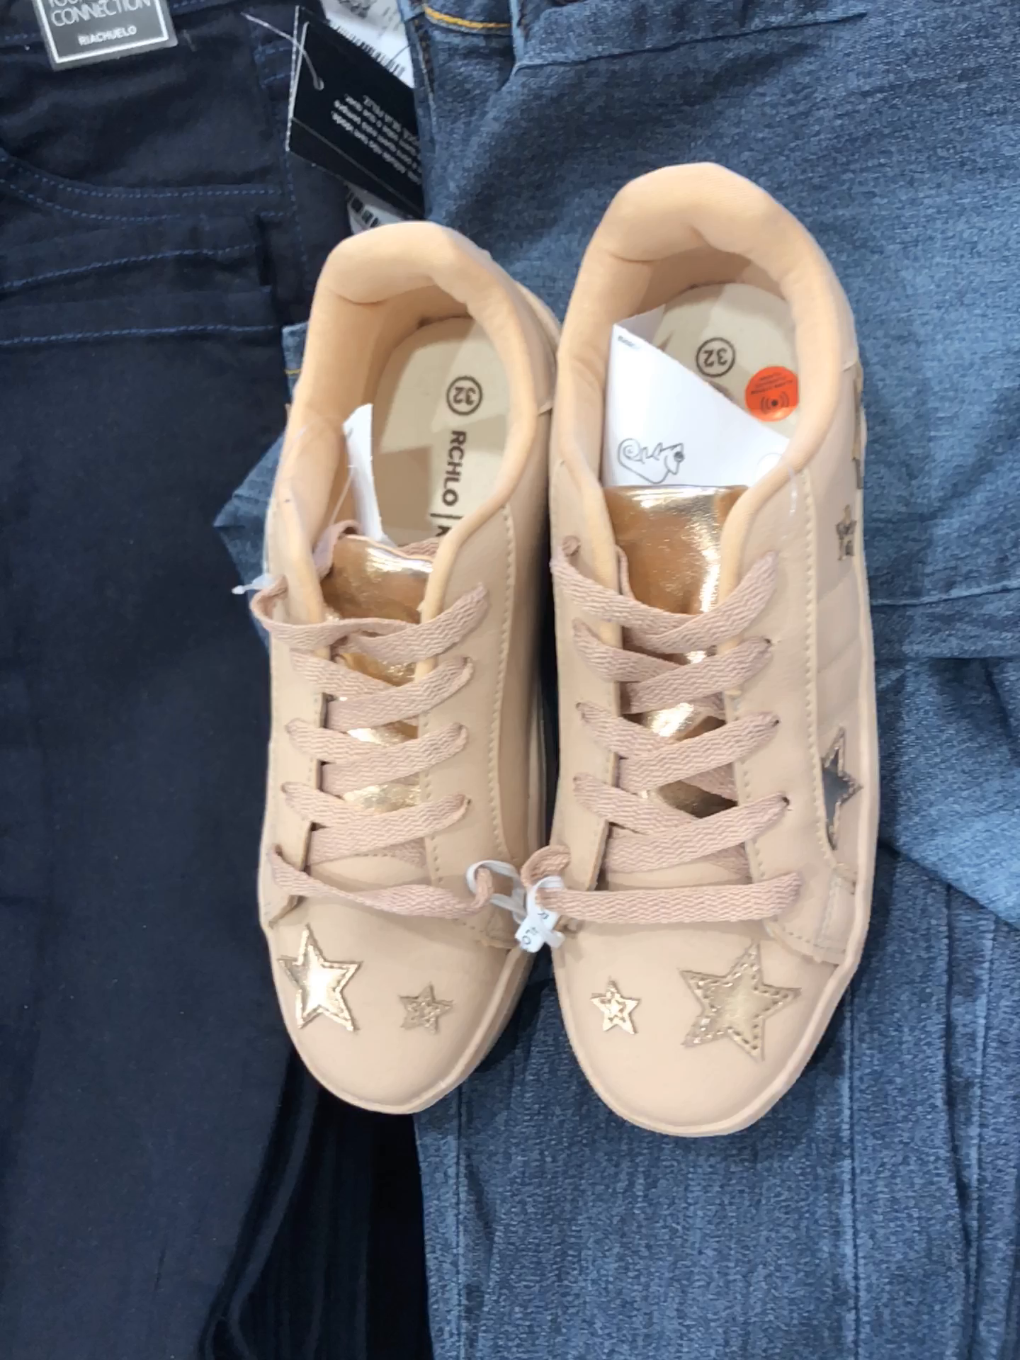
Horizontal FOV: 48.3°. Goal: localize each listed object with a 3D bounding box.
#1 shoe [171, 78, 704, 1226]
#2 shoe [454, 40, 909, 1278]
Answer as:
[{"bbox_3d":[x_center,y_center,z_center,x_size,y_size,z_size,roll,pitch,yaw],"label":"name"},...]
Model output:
[{"bbox_3d":[-0.014,-0.009,0.305,0.090,0.090,0.250,6,91,22],"label":"shoe"},{"bbox_3d":[0.051,-0.007,0.285,0.090,0.090,0.250,0,83,21],"label":"shoe"}]
